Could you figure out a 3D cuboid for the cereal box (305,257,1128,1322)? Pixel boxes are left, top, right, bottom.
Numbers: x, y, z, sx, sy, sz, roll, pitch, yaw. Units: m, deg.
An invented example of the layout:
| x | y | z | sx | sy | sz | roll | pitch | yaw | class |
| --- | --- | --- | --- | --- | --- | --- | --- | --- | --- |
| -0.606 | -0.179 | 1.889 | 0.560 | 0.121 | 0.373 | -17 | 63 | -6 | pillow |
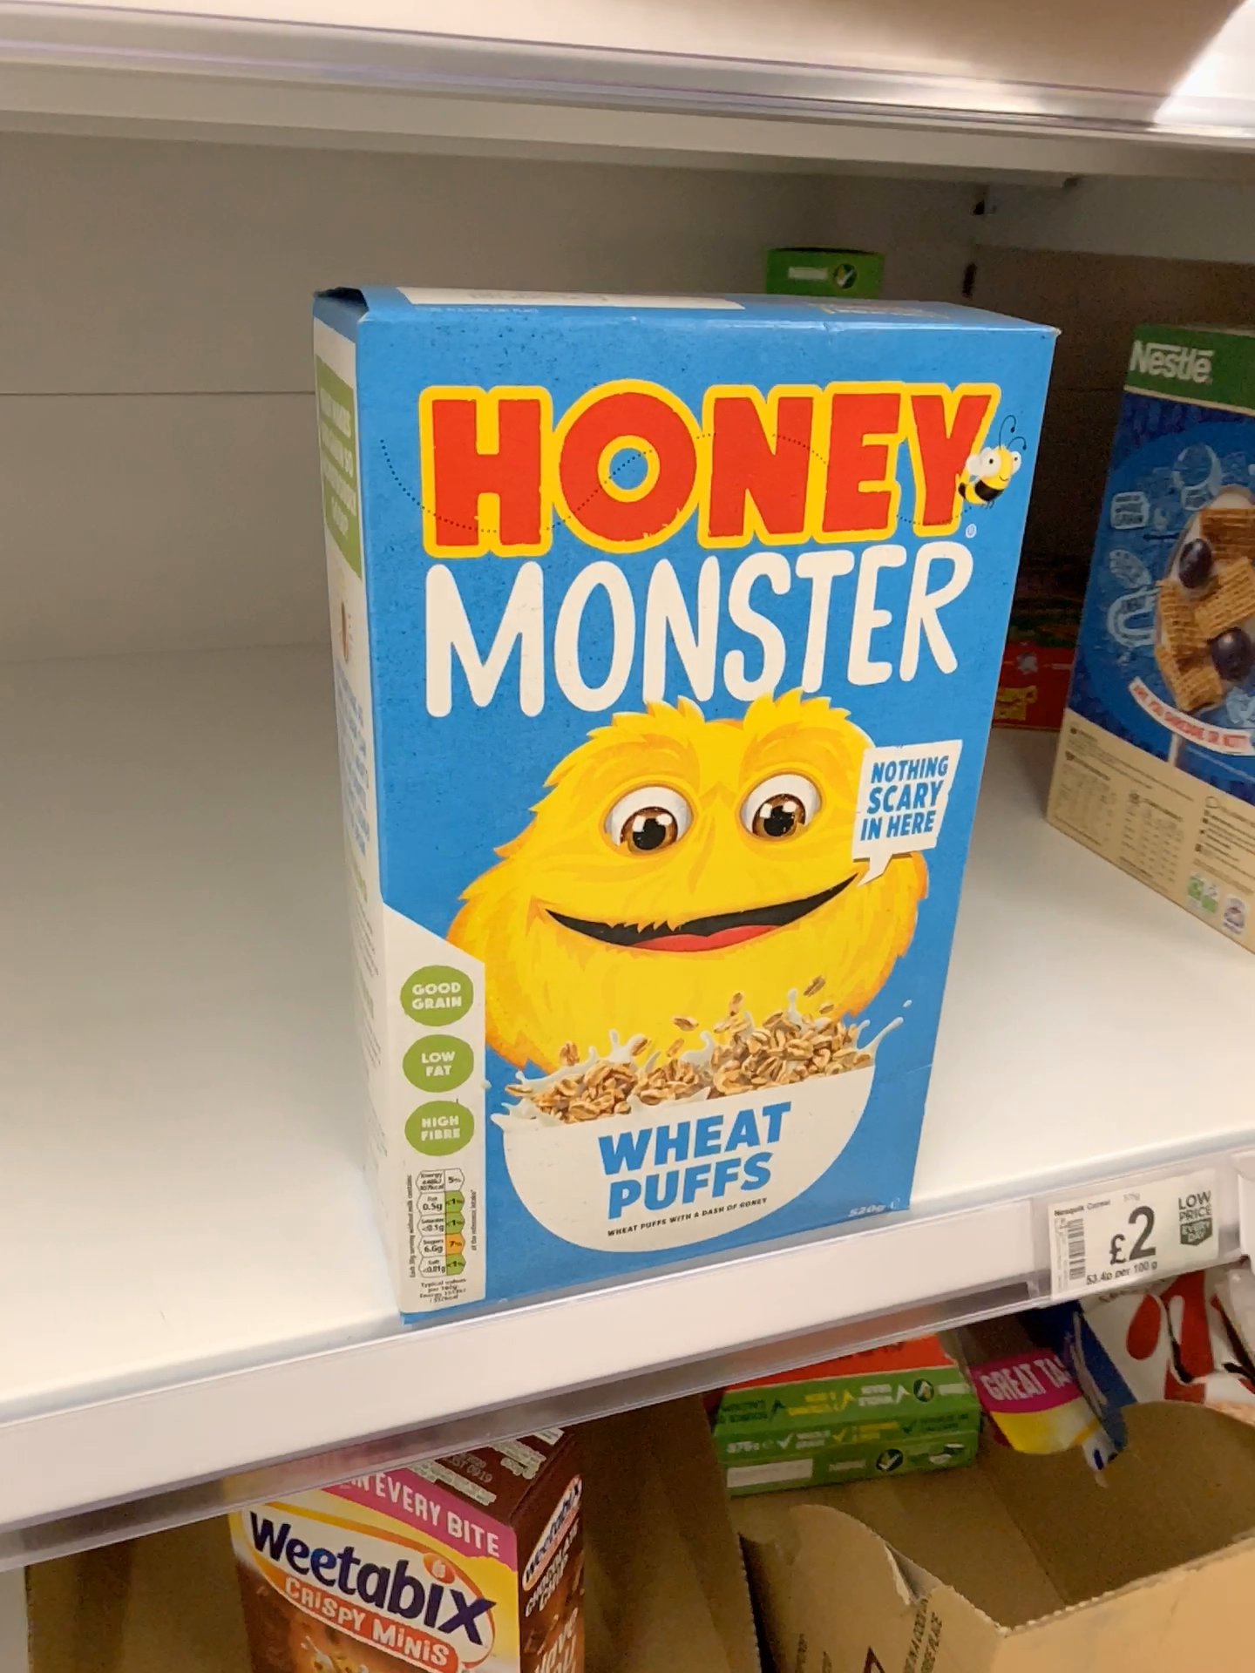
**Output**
| x | y | z | sx | sy | sz | roll | pitch | yaw | class |
| --- | --- | --- | --- | --- | --- | --- | --- | --- | --- |
| 0.015 | -0.014 | 0.406 | 0.200 | 0.297 | 0.091 | -6 | 26 | -18 | cereal box |
